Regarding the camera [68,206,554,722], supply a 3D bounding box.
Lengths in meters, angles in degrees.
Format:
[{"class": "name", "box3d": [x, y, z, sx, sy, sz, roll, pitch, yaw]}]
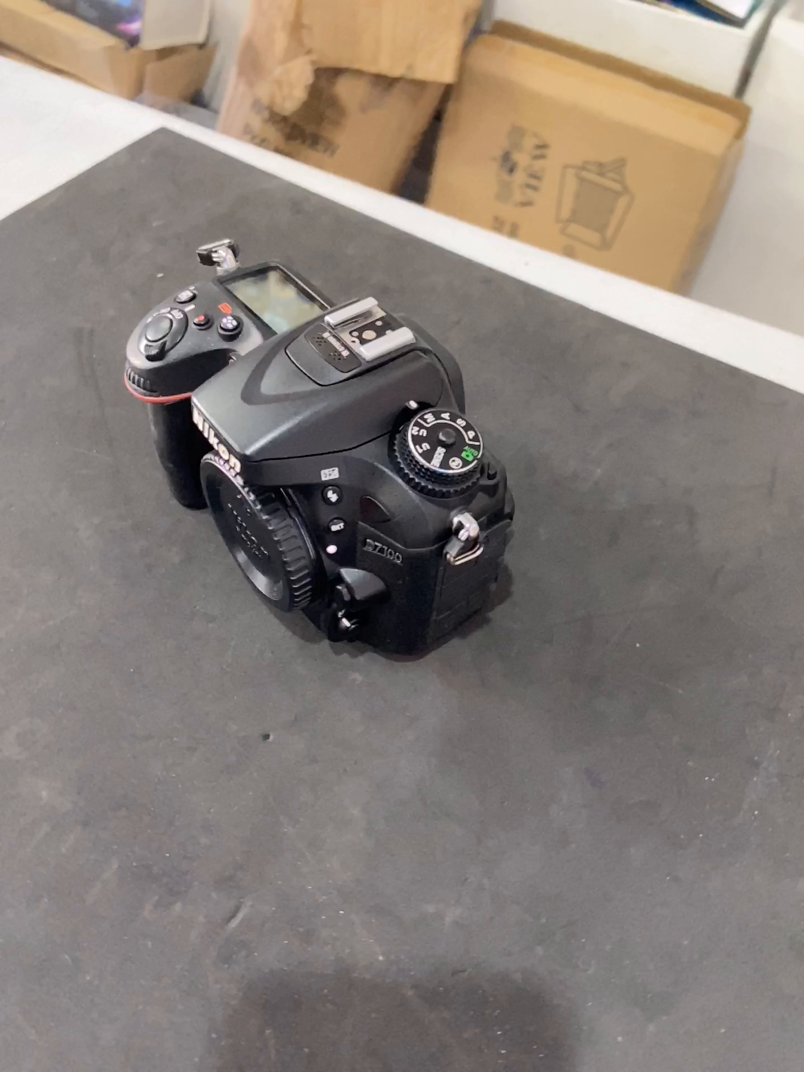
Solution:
[{"class": "camera", "box3d": [-0.034, -0.029, 0.289, 0.078, 0.092, 0.140, -34, 61, -26]}]
